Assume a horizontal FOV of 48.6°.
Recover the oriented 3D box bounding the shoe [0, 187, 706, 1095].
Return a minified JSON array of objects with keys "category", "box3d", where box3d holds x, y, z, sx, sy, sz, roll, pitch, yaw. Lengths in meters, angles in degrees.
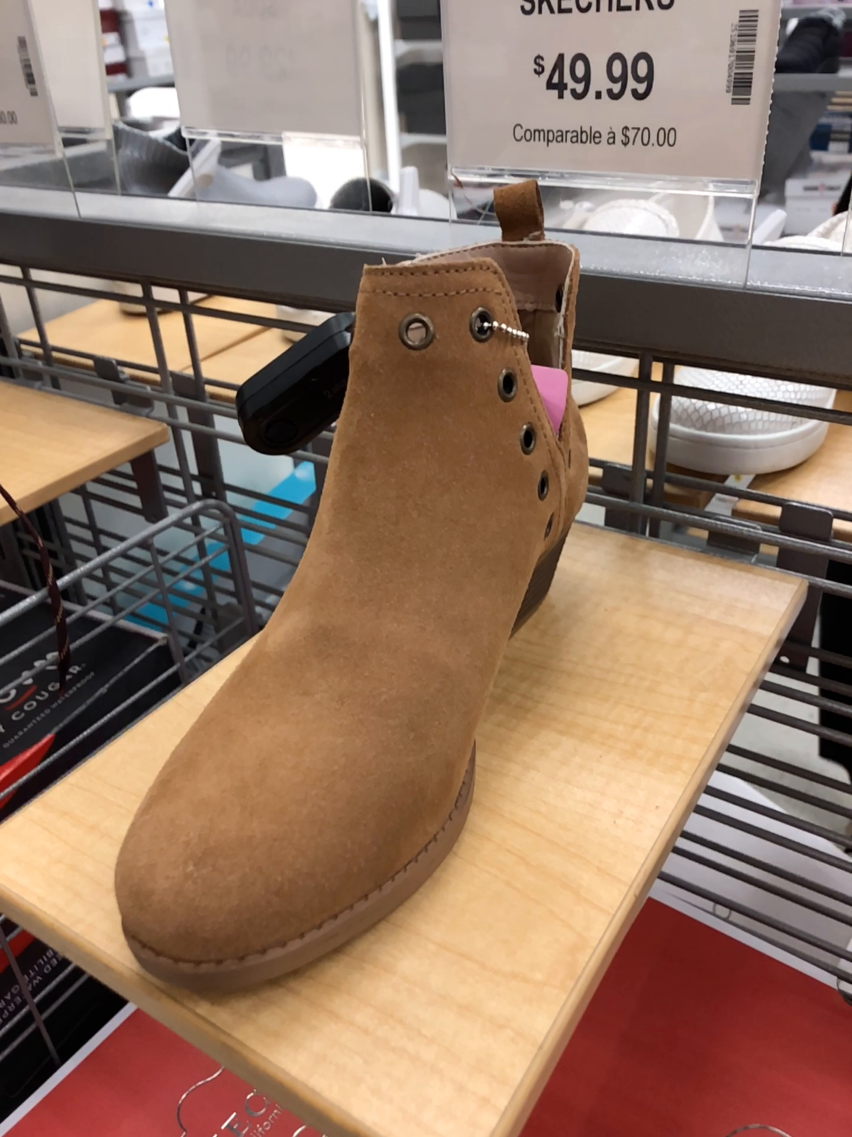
[{"category":"shoe","box3d":[-0.005,-0.021,0.292,0.092,0.129,0.282,14,36,26]}]
